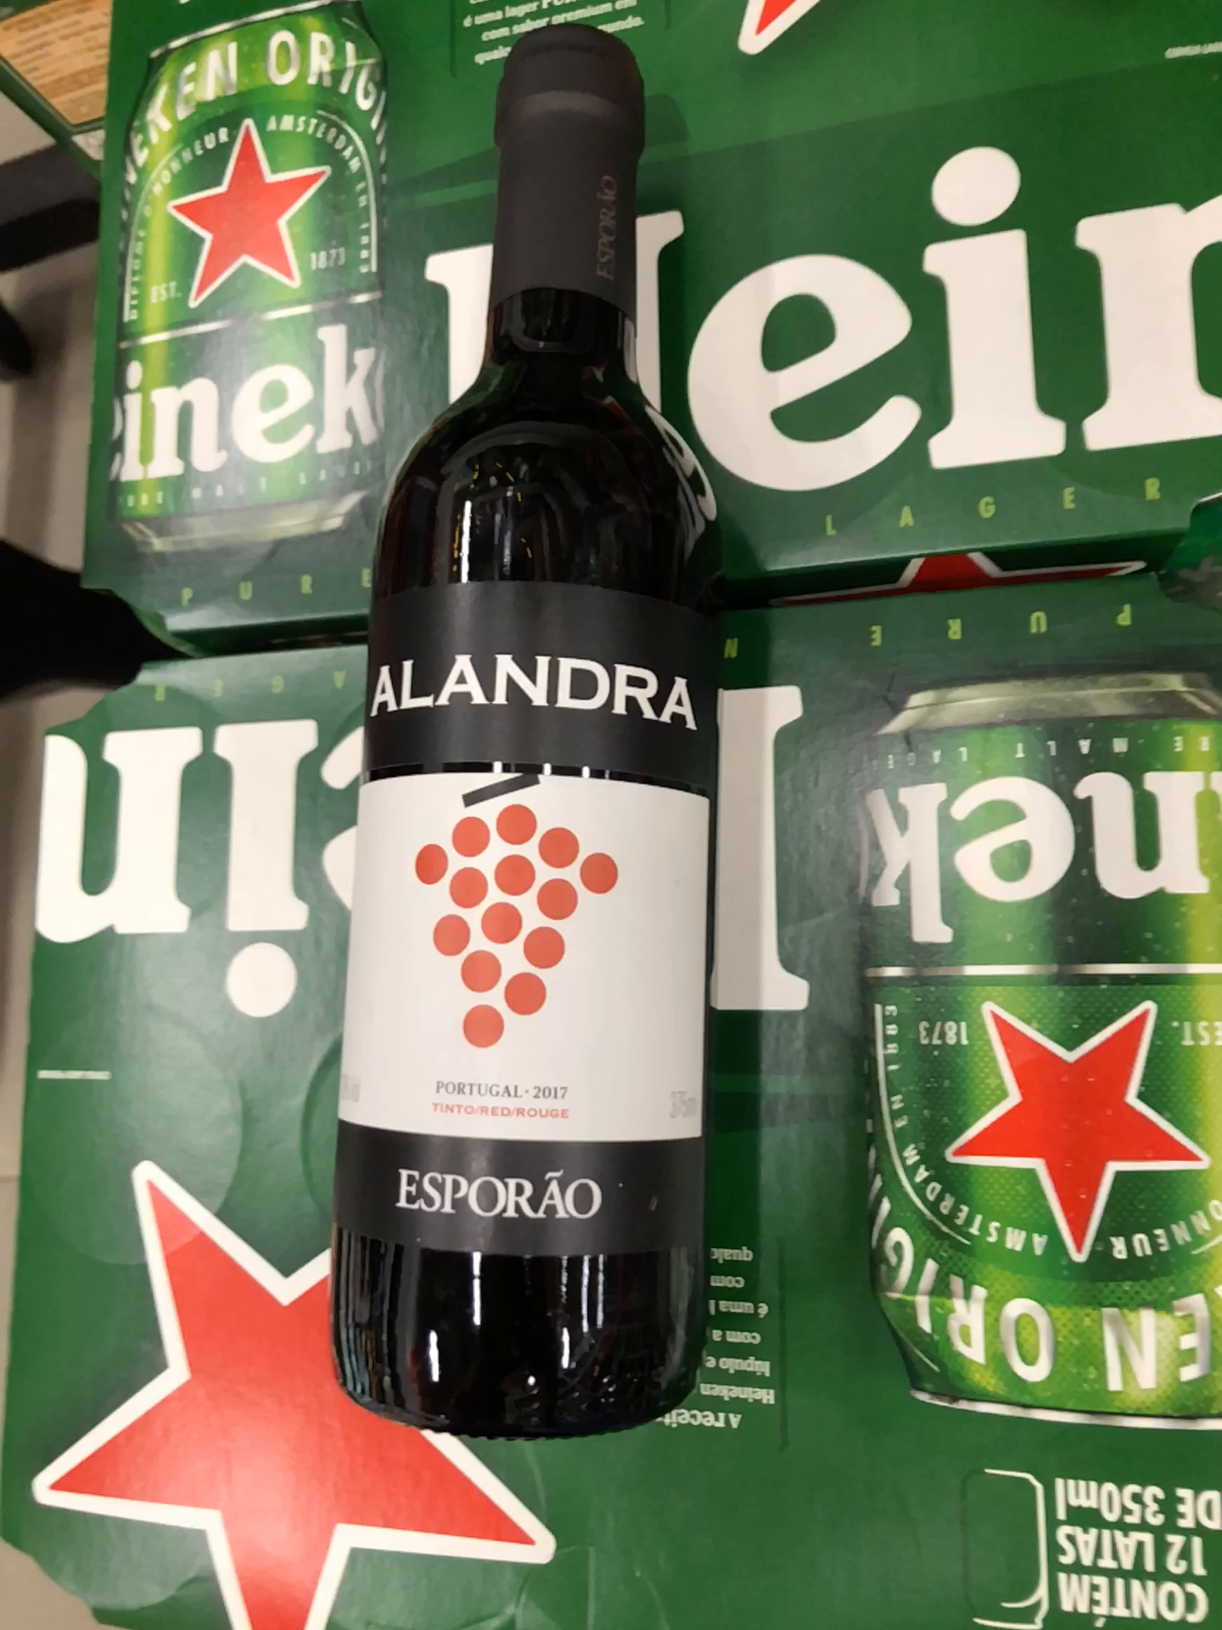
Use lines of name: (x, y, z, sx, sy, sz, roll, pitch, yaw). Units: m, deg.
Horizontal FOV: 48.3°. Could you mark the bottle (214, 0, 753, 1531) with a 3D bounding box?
bottle: (-0.012, -0.029, 0.214, 0.060, 0.060, 0.240, 2, 82, 5)
